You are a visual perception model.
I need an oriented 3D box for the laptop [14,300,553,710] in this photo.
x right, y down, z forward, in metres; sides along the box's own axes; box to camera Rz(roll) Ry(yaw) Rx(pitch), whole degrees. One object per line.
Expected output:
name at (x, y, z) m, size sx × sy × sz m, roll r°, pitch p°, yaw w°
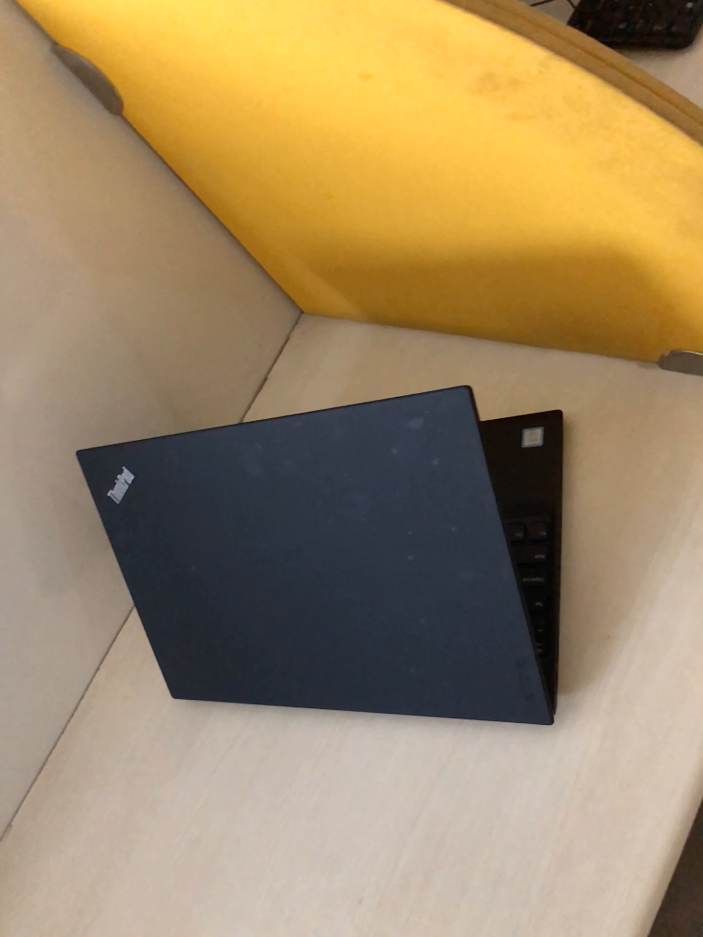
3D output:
laptop at (-0.042, 0.044, 0.610) m, size 0.350 × 0.166 × 0.240 m, roll -8°, pitch 56°, yaw 31°
